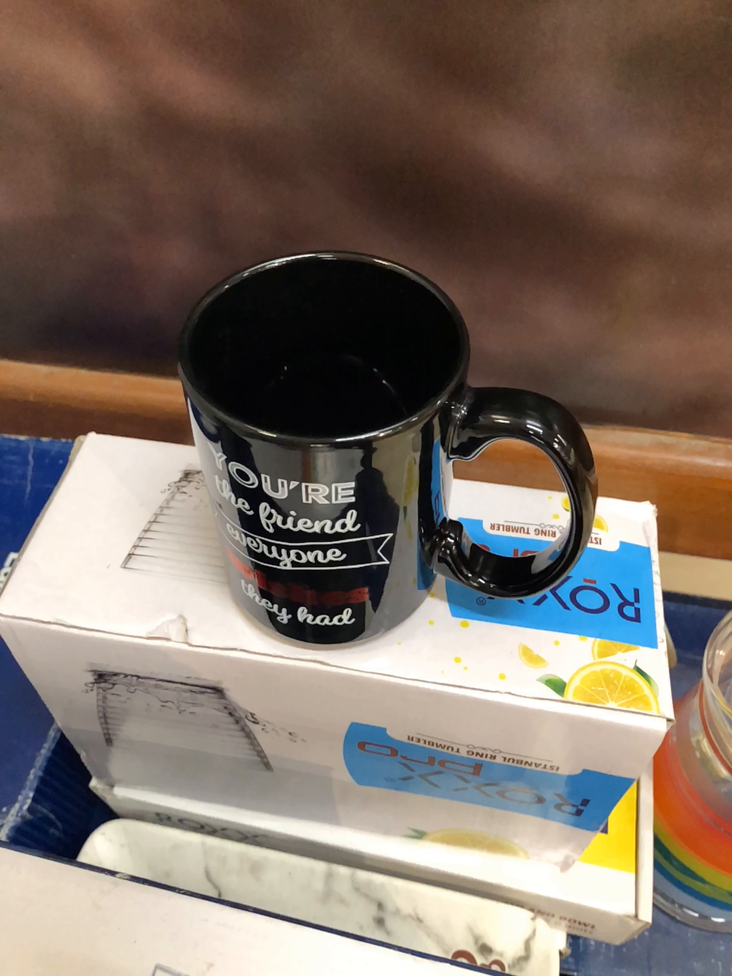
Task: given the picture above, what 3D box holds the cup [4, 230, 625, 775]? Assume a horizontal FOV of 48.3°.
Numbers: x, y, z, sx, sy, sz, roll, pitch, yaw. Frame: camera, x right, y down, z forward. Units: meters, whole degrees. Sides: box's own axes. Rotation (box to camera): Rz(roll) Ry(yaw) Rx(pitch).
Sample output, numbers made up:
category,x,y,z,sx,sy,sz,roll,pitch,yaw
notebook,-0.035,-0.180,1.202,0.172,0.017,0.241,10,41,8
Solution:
category,x,y,z,sx,sy,sz,roll,pitch,yaw
cup,-0.003,0.004,0.237,0.130,0.109,0.091,8,49,11
